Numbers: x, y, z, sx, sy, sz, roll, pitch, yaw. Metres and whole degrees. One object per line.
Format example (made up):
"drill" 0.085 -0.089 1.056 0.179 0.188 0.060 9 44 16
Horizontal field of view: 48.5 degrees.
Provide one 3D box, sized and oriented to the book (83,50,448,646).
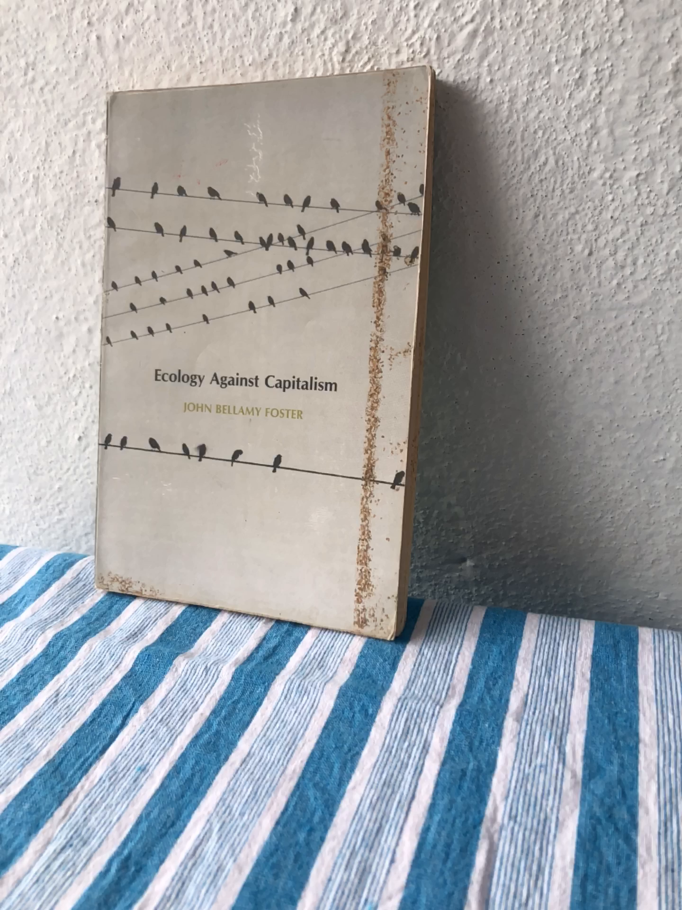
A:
"book" -0.035 -0.042 0.309 0.140 0.210 0.030 4 1 23
